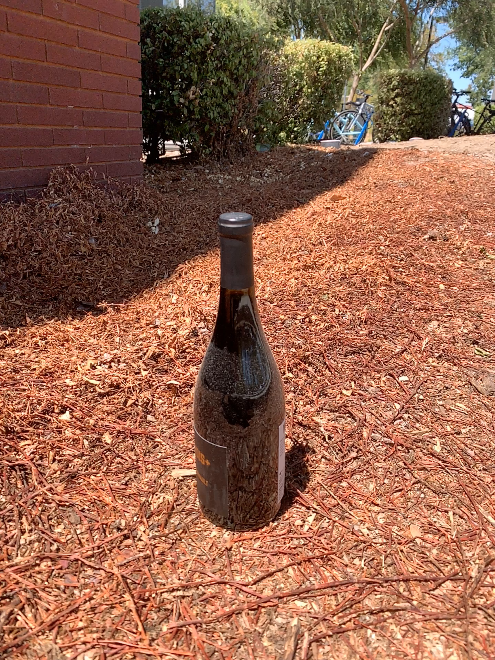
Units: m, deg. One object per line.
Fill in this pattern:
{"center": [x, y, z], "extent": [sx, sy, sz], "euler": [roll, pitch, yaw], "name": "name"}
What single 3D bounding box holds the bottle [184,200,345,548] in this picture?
{"center": [0.005, 0.036, 0.445], "extent": [0.090, 0.279, 0.090], "euler": [3, 21, -1], "name": "bottle"}
